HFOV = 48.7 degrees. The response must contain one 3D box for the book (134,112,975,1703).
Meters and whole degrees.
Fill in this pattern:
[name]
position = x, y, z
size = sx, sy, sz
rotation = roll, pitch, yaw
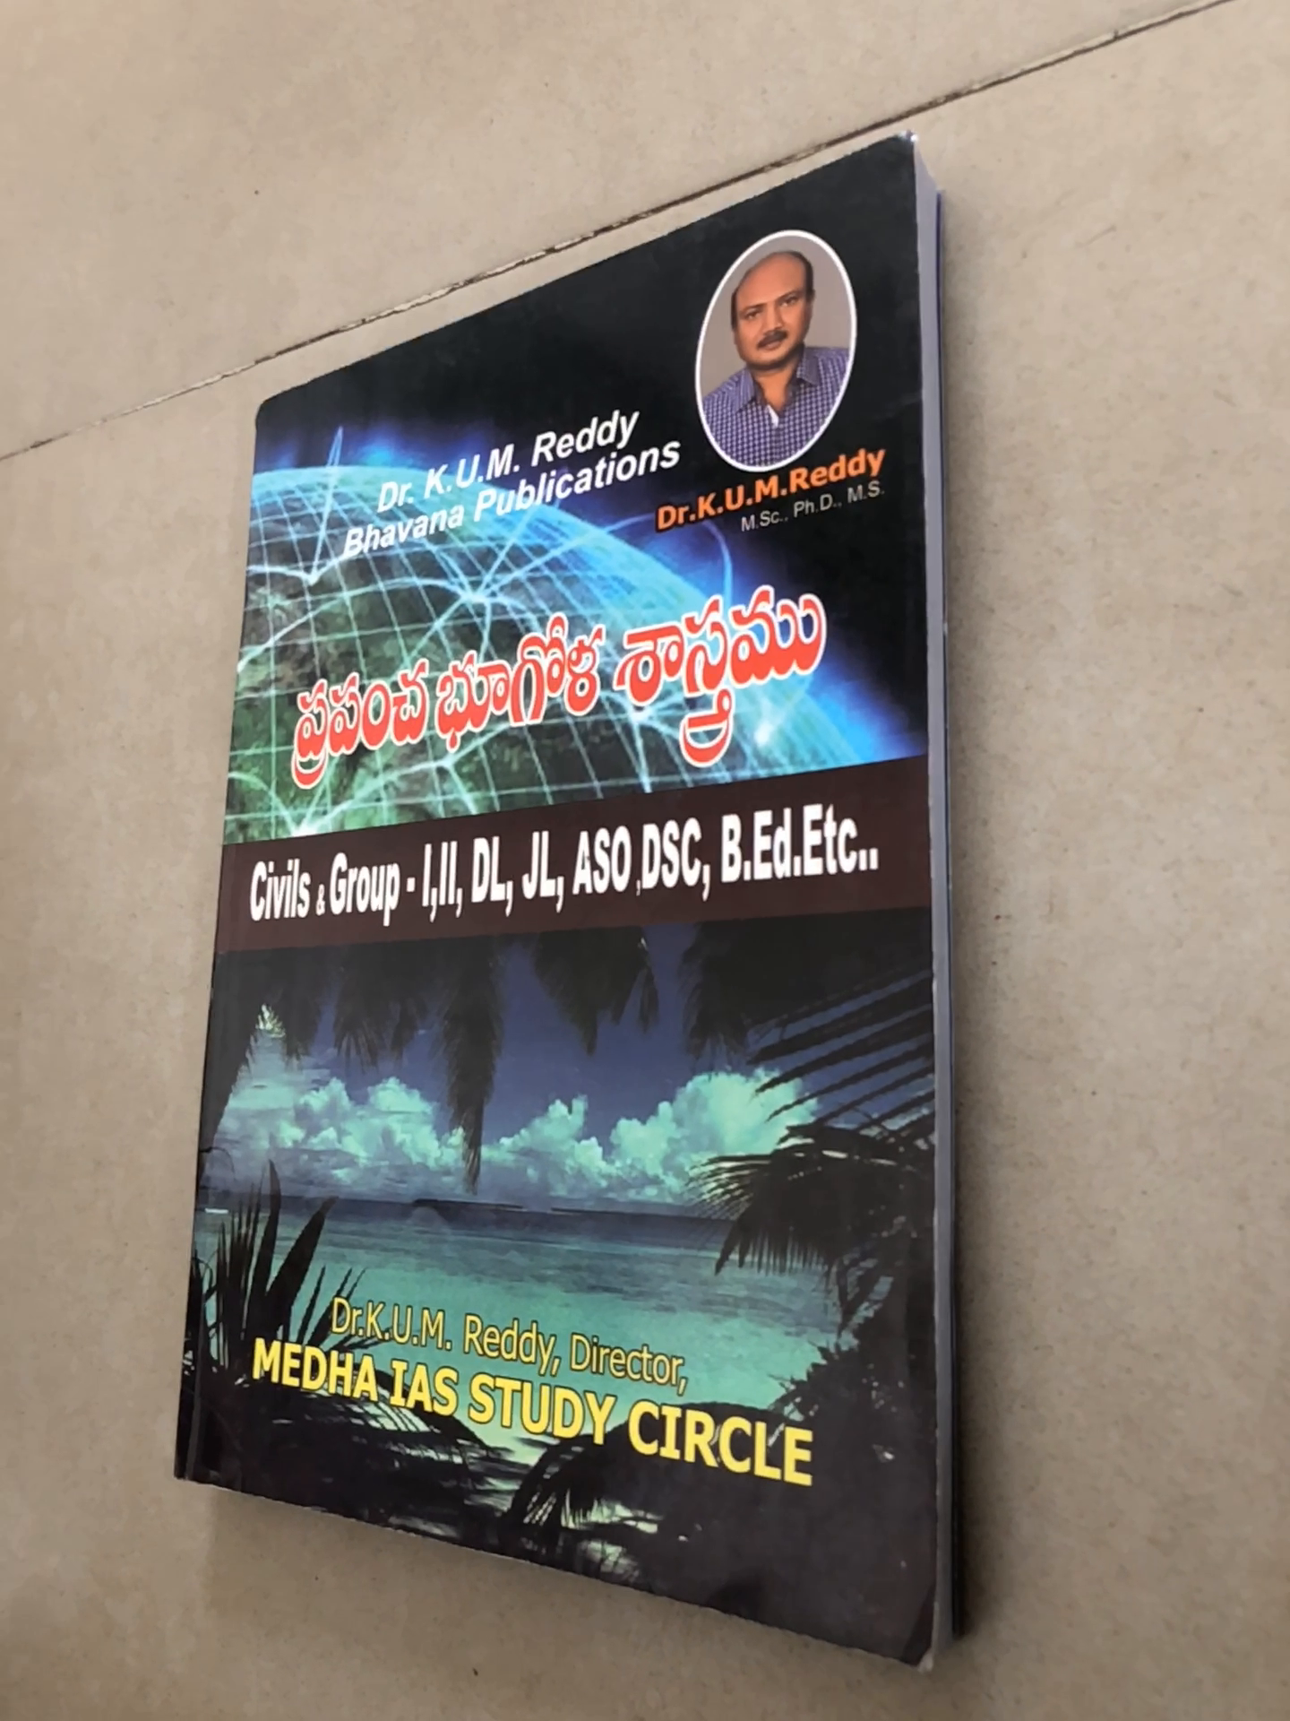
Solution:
[book]
position = -0.027, 0.005, 0.294
size = 0.181, 0.030, 0.260
rotation = -6, 78, 34
